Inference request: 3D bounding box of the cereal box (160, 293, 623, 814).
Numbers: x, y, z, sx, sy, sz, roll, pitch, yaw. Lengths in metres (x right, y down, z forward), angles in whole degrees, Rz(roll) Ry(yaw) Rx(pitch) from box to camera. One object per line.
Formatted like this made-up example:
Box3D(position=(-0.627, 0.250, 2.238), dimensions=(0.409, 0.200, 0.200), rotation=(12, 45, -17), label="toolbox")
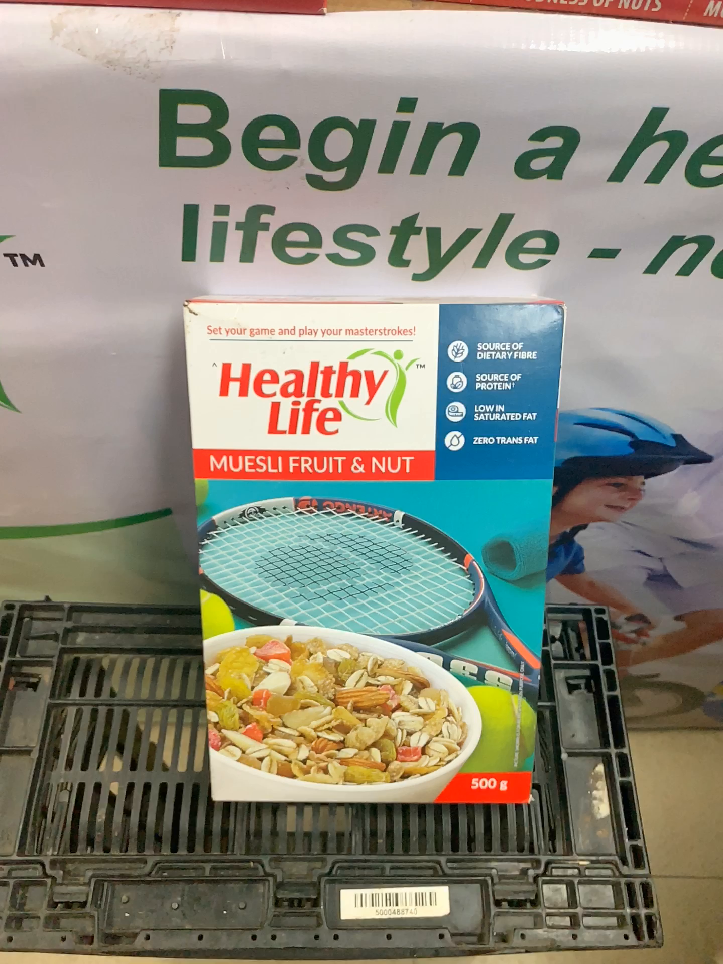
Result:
Box3D(position=(0.012, 0.035, 0.373), dimensions=(0.190, 0.250, 0.070), rotation=(0, 15, 1), label="cereal box")
